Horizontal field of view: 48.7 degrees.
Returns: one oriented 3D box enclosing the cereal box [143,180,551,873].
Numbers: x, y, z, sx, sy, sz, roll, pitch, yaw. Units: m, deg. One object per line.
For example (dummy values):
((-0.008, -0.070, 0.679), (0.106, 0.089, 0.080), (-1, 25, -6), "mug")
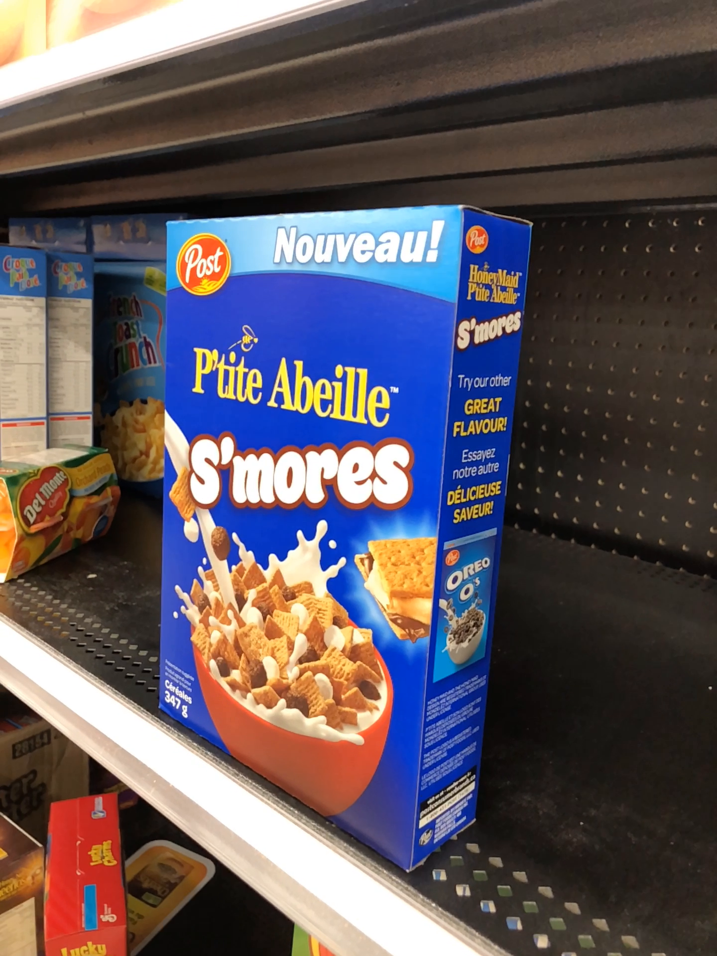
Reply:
((-0.023, 0.009, 0.396), (0.200, 0.279, 0.060), (12, 14, 40), "cereal box")
